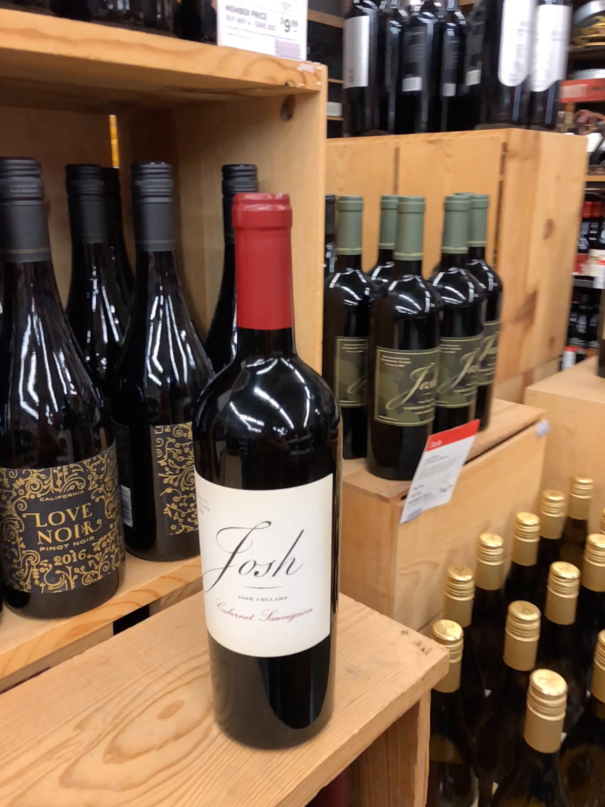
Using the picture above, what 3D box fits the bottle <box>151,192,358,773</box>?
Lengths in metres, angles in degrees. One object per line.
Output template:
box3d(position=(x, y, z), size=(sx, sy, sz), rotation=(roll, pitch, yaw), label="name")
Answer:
box3d(position=(-0.018, 0.042, 0.355), size=(0.080, 0.294, 0.081), rotation=(0, 18, 0), label="bottle")
